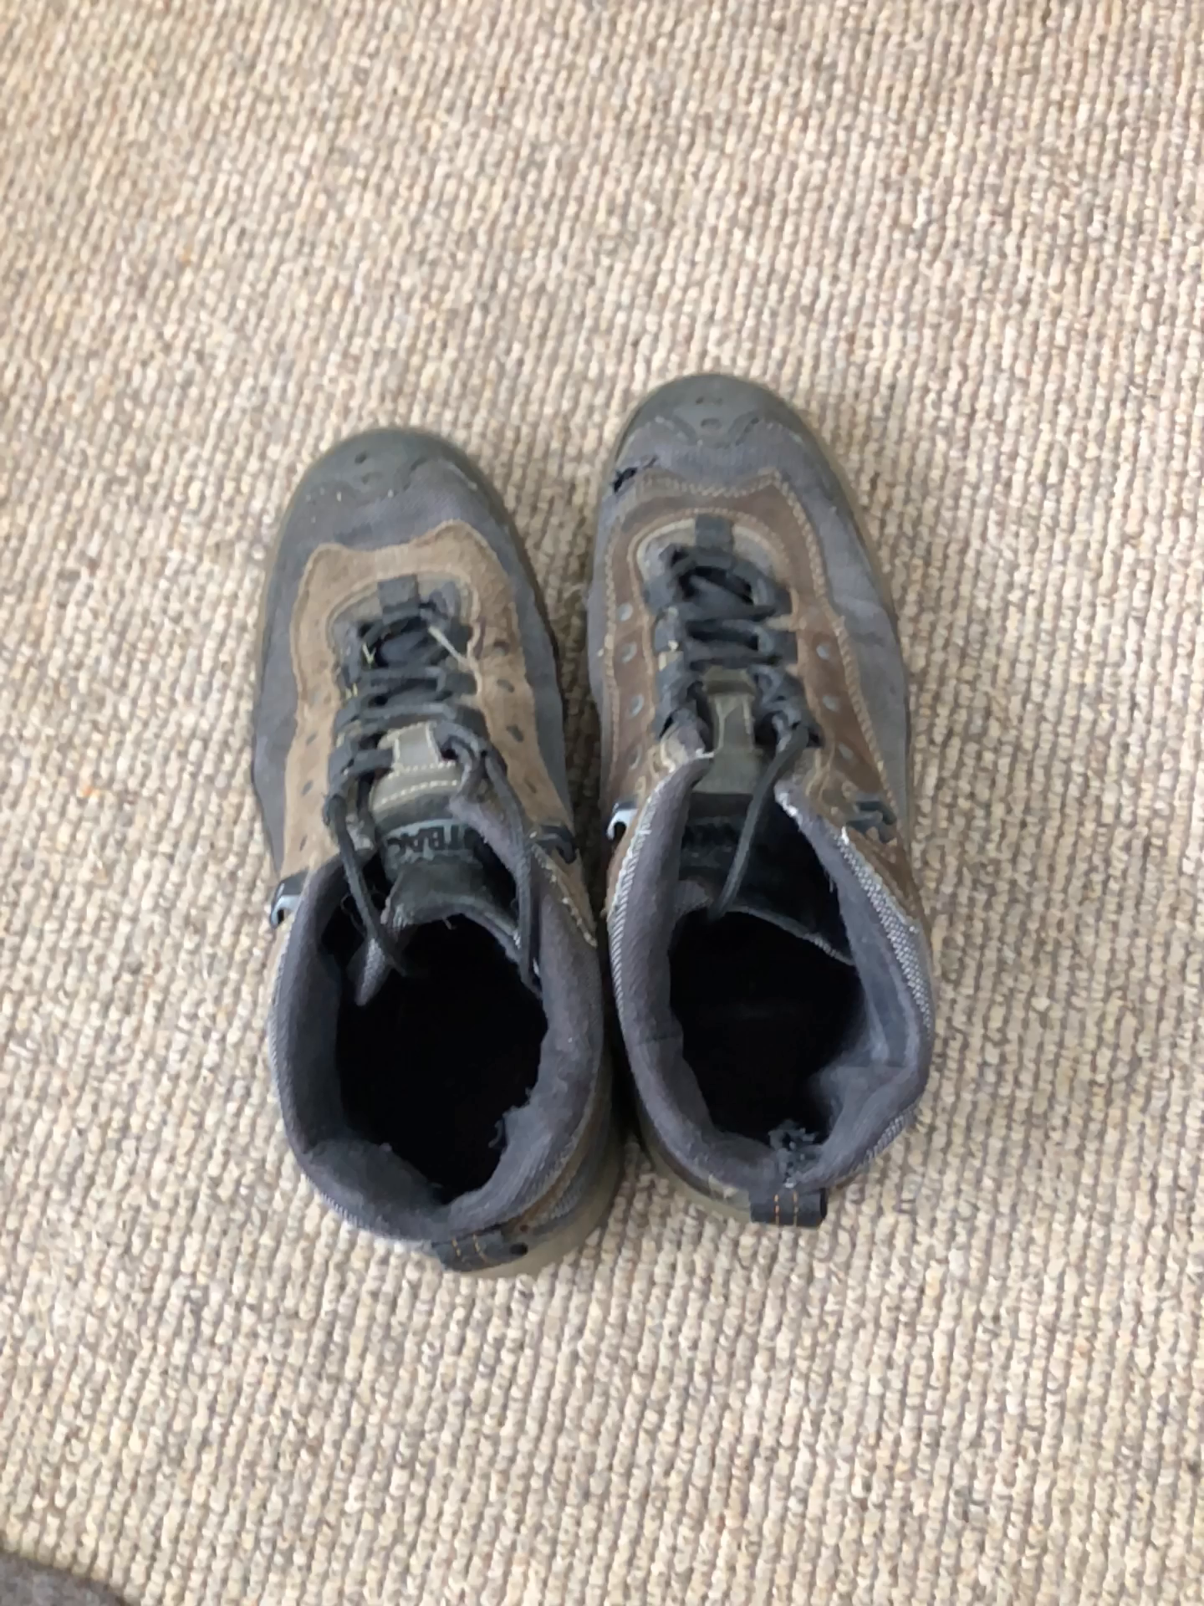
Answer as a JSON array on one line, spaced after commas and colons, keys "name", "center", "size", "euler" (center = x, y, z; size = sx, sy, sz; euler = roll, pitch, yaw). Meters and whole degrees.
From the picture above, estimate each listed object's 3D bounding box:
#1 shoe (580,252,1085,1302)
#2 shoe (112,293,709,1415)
[{"name": "shoe", "center": [0.058, -0.004, 0.415], "size": [0.118, 0.138, 0.279], "euler": [1, 76, 1]}, {"name": "shoe", "center": [-0.056, 0.014, 0.413], "size": [0.116, 0.135, 0.279], "euler": [-10, 76, -2]}]
